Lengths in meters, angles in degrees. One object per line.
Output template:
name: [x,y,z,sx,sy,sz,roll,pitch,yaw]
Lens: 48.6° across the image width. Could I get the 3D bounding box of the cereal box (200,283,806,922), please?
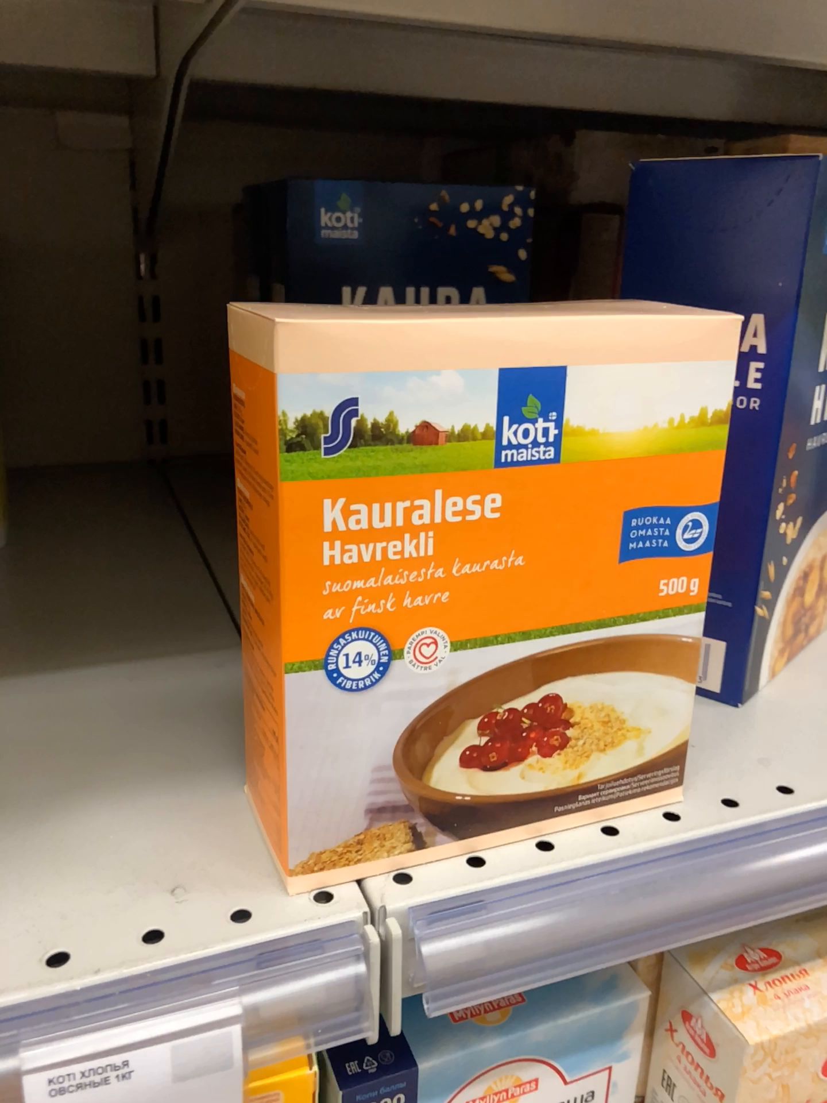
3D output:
cereal box: [0.023,0.005,0.291,0.160,0.169,0.070,-6,20,-21]
